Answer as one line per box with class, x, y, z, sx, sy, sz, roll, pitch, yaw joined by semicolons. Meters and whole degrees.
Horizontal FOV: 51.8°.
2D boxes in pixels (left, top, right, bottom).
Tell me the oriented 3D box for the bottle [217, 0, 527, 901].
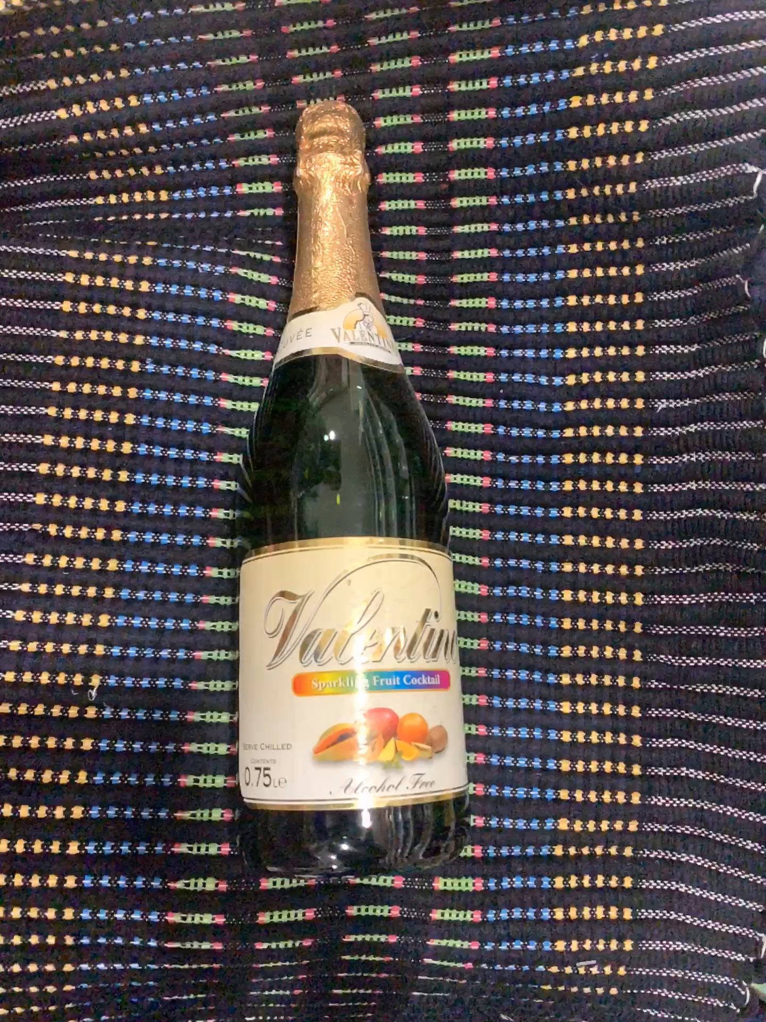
bottle;-0.018;-0.046;0.320;0.090;0.080;0.350;1;73;-15
